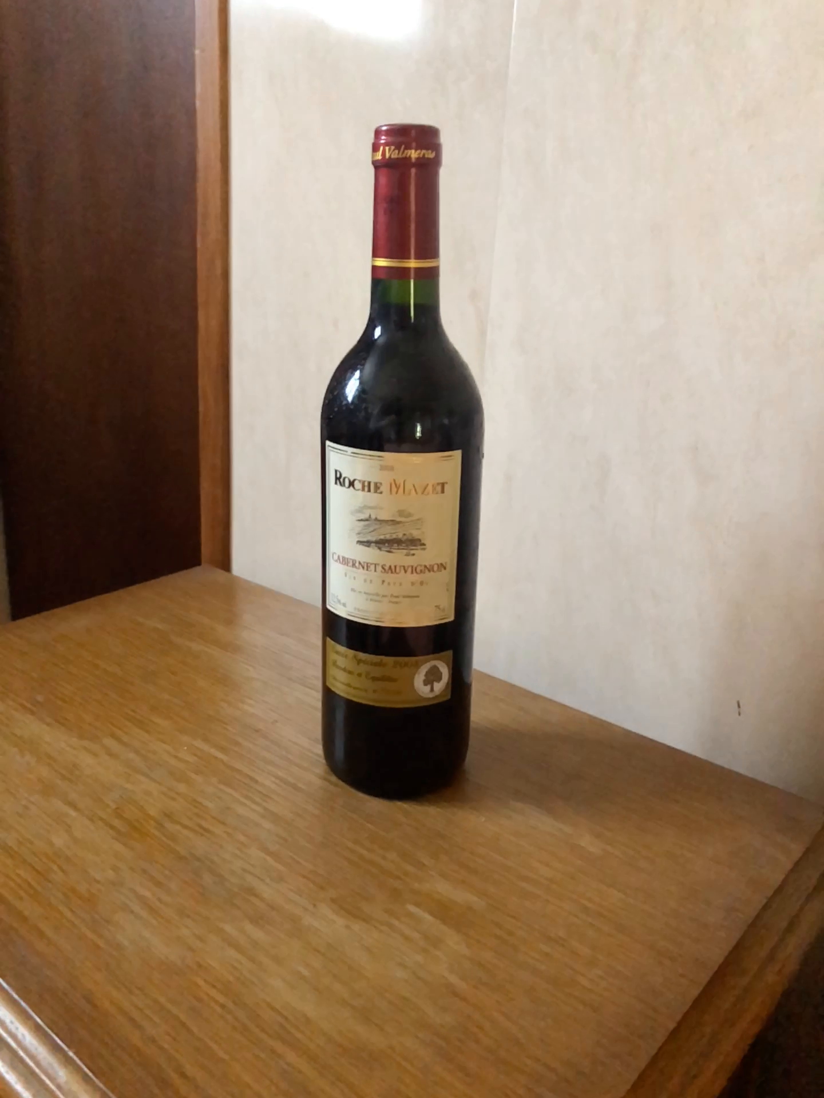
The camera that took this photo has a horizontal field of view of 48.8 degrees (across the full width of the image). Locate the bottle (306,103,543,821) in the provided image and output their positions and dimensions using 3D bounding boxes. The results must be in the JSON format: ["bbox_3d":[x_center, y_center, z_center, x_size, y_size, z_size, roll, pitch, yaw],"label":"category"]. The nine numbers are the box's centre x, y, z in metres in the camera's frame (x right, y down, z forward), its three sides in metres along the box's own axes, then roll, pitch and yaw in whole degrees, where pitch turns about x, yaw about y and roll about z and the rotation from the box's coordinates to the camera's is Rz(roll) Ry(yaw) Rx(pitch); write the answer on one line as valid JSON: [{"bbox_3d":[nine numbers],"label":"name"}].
[{"bbox_3d":[0.004,-0.033,0.417,0.080,0.299,0.080,3,18,-1],"label":"bottle"}]
